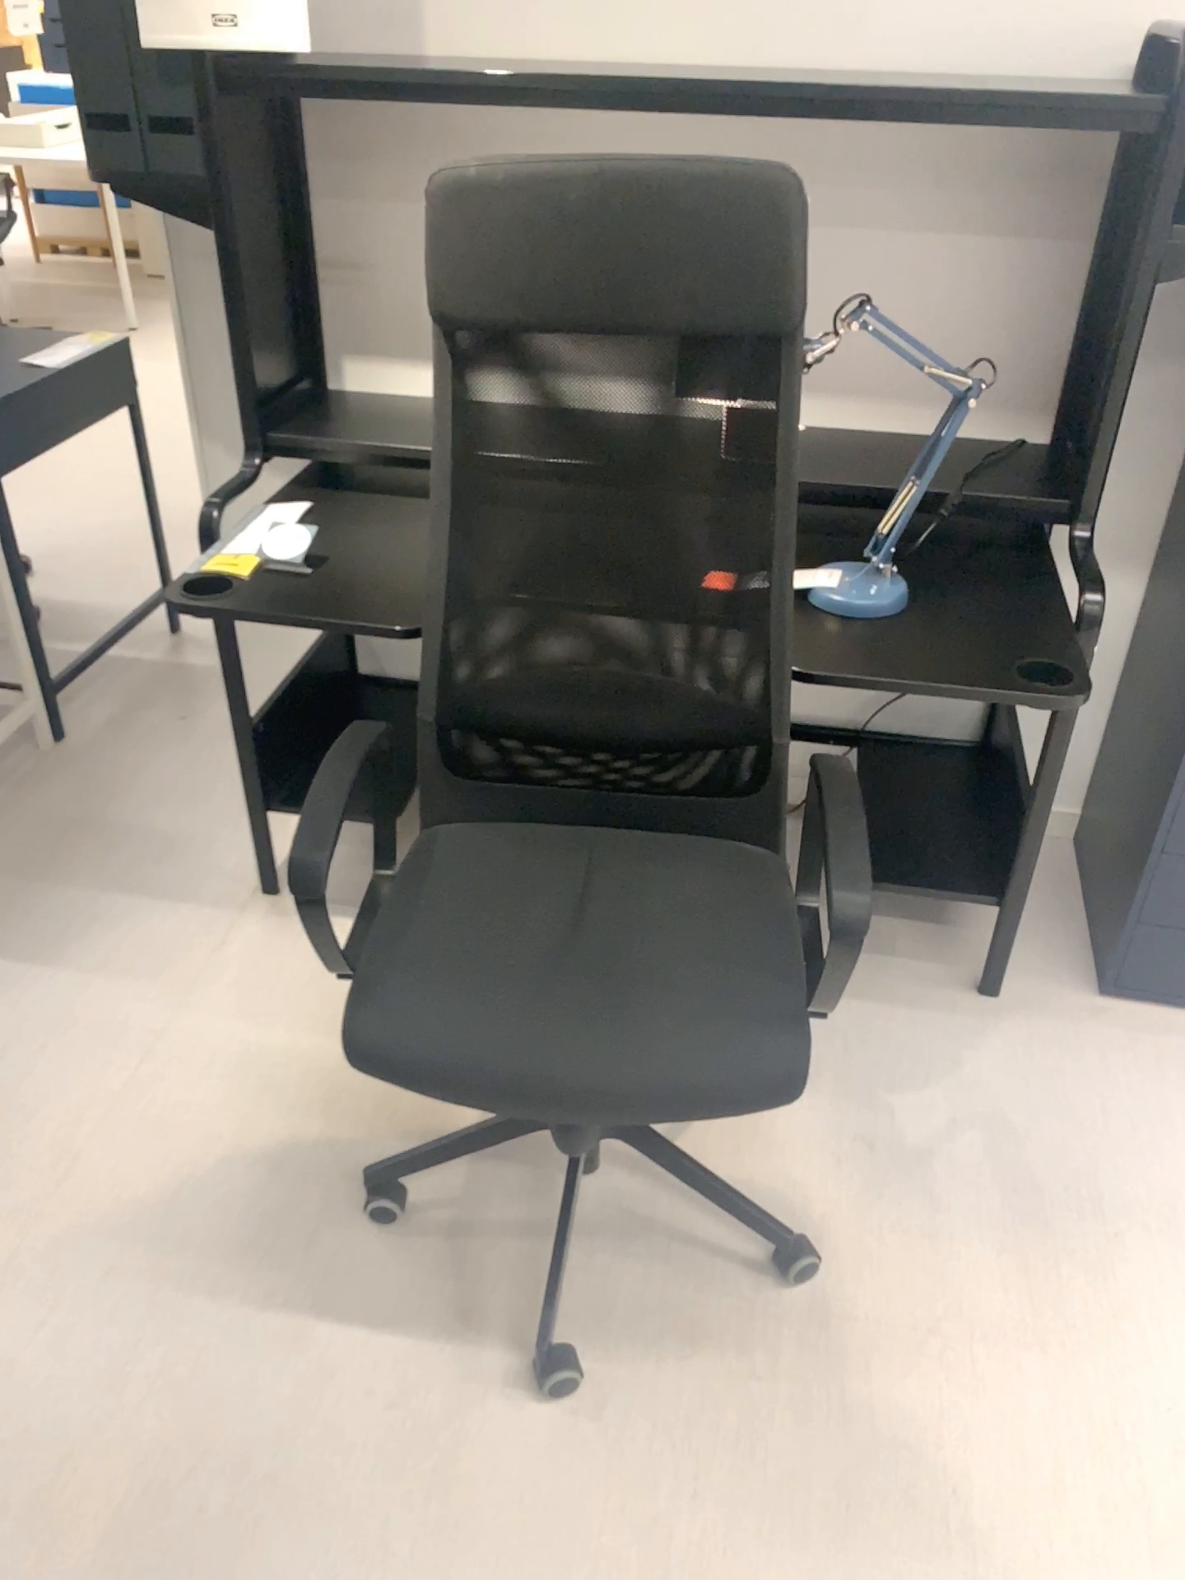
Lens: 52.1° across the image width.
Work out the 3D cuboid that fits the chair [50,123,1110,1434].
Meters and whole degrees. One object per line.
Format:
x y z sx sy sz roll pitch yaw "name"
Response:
0.011 -0.002 1.366 0.640 1.245 0.713 4 34 5 "chair"
